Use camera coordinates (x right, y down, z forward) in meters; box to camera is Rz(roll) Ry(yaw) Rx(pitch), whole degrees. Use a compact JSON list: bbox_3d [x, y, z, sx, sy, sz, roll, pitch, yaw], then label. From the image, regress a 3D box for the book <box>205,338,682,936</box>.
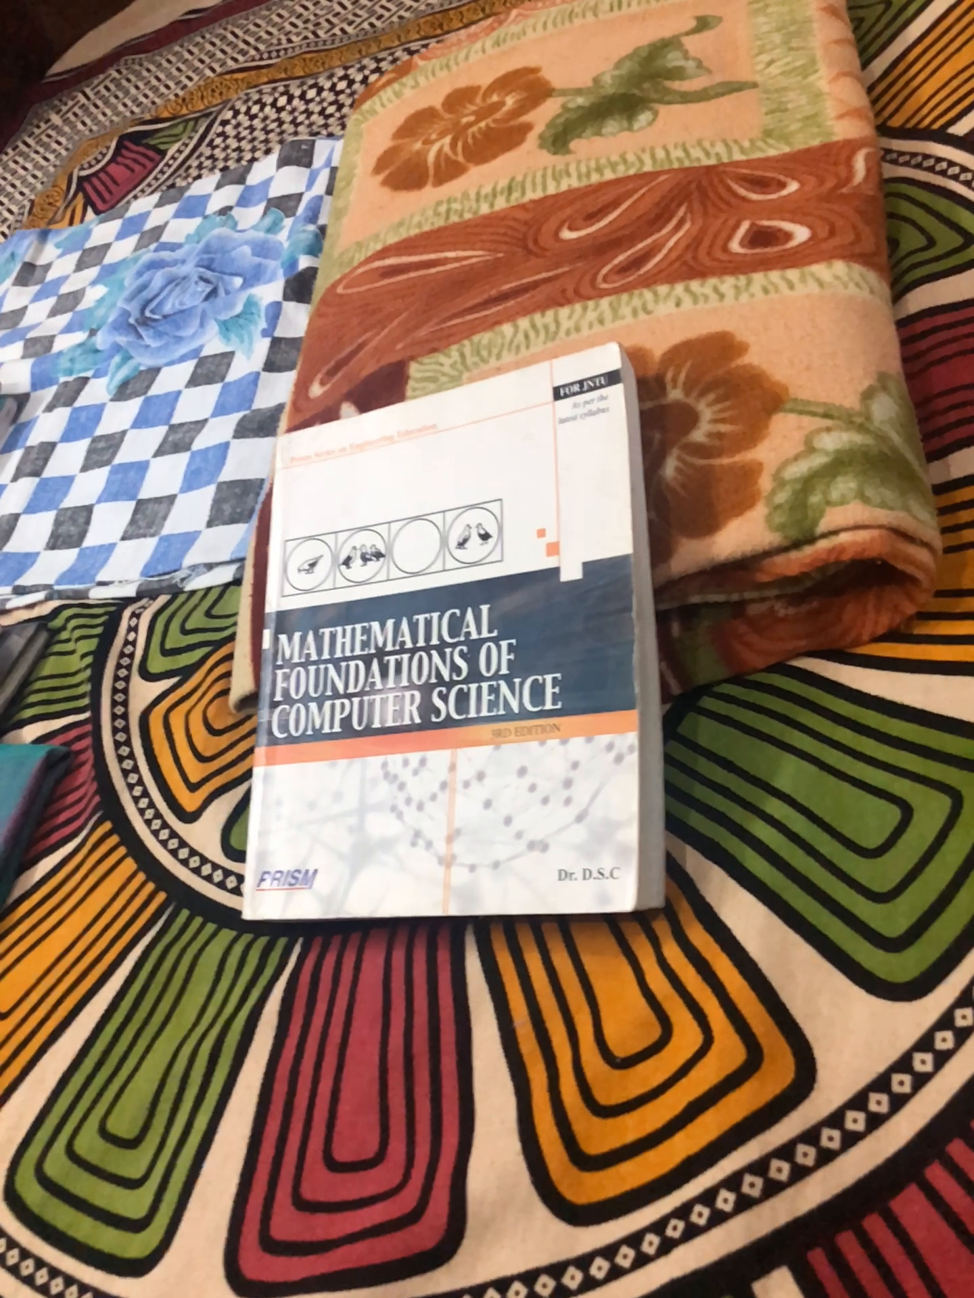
[{"bbox_3d":[-0.023,0.003,0.462,0.190,0.050,0.230,-8,72,25],"label":"book"}]
